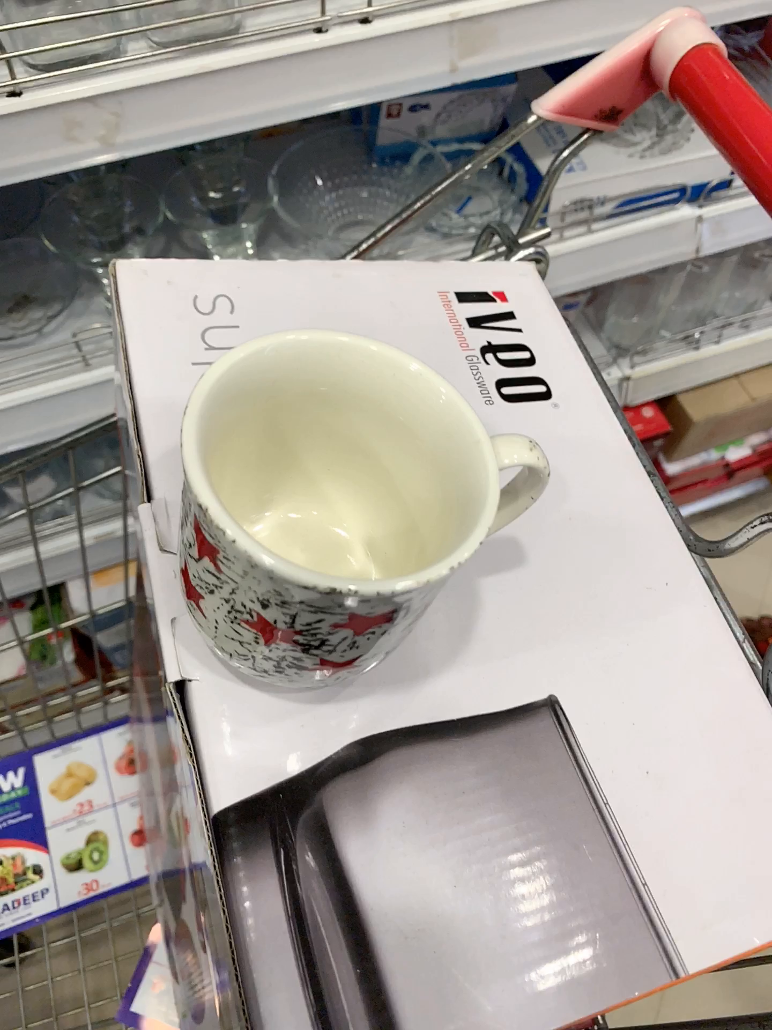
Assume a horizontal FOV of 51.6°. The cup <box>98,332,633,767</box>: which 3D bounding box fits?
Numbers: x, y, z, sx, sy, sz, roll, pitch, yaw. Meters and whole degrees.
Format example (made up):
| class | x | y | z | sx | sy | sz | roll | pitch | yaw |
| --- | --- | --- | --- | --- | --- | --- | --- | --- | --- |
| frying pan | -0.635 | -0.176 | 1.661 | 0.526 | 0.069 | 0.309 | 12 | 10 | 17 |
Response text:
| class | x | y | z | sx | sy | sz | roll | pitch | yaw |
| --- | --- | --- | --- | --- | --- | --- | --- | --- | --- |
| cup | -0.012 | 0.008 | 0.198 | 0.100 | 0.070 | 0.070 | -3 | 59 | -27 |
